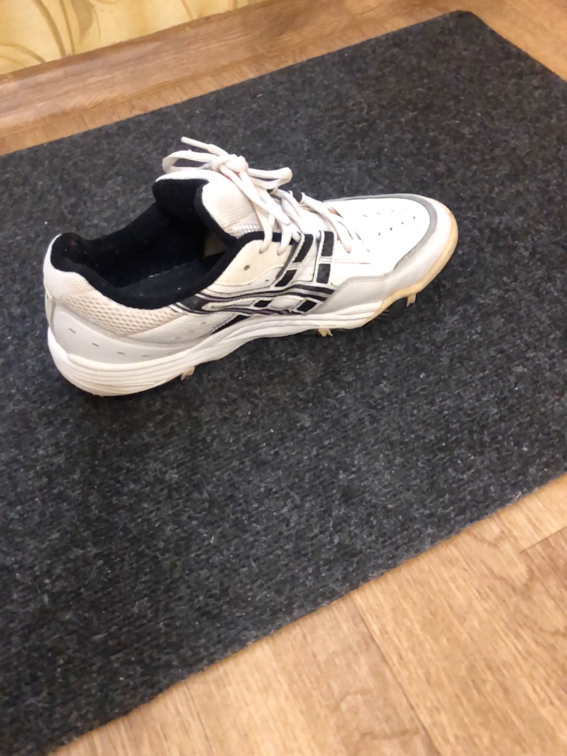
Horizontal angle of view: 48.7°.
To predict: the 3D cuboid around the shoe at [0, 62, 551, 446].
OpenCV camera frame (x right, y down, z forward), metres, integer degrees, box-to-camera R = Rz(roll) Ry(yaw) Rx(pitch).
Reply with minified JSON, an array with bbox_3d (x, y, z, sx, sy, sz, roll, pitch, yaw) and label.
[{"bbox_3d":[-0.008,-0.078,0.379,0.289,0.110,0.100,-20,57,-11],"label":"shoe"}]
